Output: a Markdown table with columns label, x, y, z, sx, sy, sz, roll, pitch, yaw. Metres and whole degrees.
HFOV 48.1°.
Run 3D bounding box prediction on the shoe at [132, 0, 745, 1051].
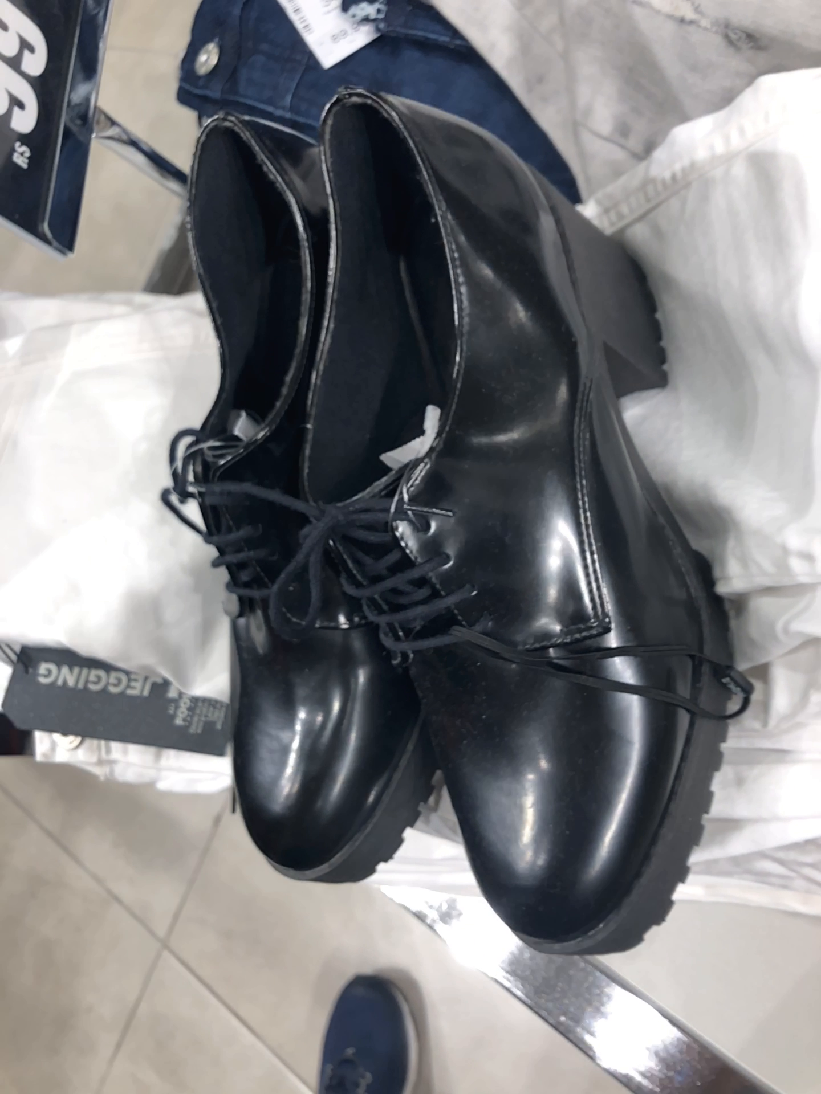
| label | x | y | z | sx | sy | sz | roll | pitch | yaw |
| --- | --- | --- | --- | --- | --- | --- | --- | --- | --- |
| shoe | 0.021 | -0.005 | 0.291 | 0.100 | 0.149 | 0.260 | -11 | 68 | 34 |

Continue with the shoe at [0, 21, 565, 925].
| label | x | y | z | sx | sy | sz | roll | pitch | yaw |
| --- | --- | --- | --- | --- | --- | --- | --- | --- | --- |
| shoe | -0.037 | -0.012 | 0.339 | 0.100 | 0.159 | 0.260 | -2 | 72 | 36 |
